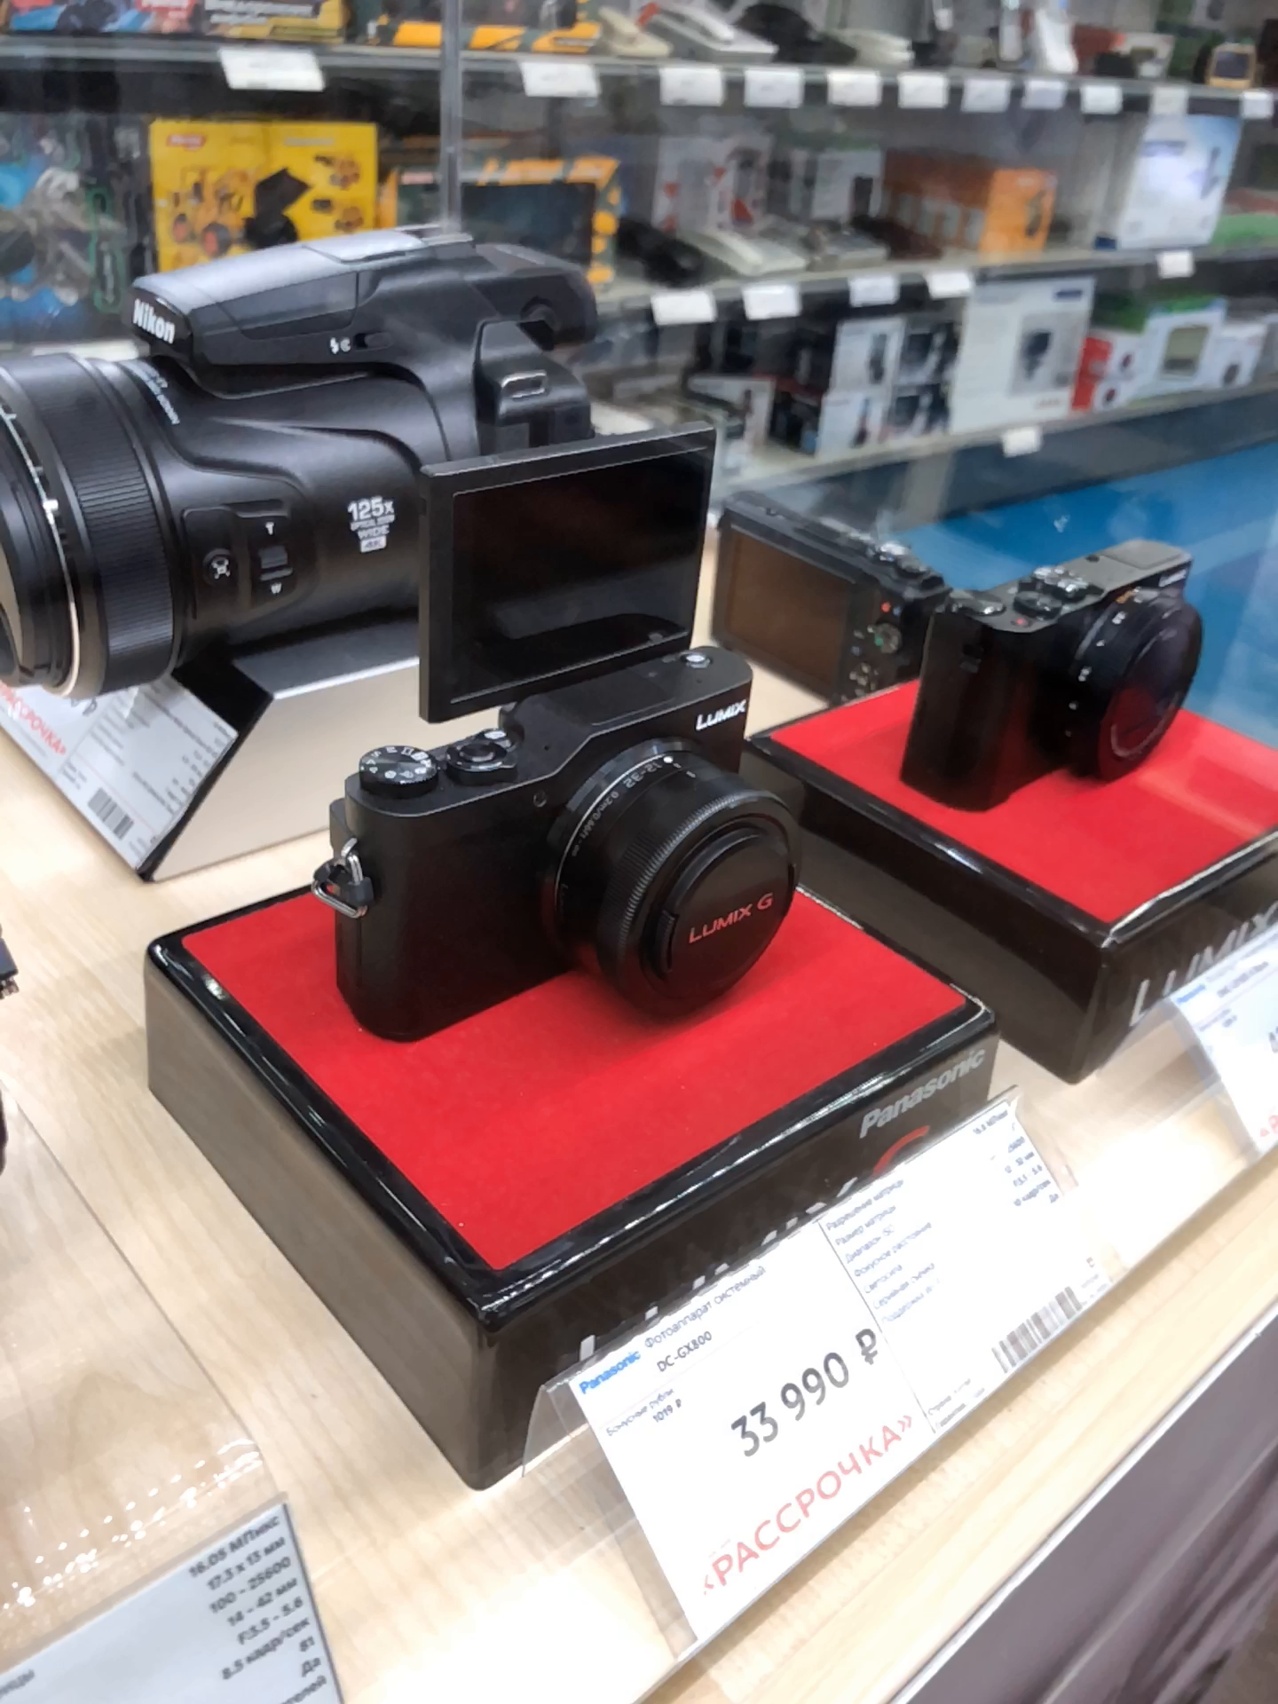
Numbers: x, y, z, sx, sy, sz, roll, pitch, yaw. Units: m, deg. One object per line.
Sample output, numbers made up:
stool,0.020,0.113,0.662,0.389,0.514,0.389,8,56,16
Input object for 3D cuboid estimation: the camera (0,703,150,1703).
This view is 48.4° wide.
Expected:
camera,-0.148,0.046,0.205,0.108,0.080,0.103,-21,40,-36

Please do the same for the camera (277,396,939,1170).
camera,-0.008,-0.021,0.301,0.070,0.120,0.108,31,39,35
